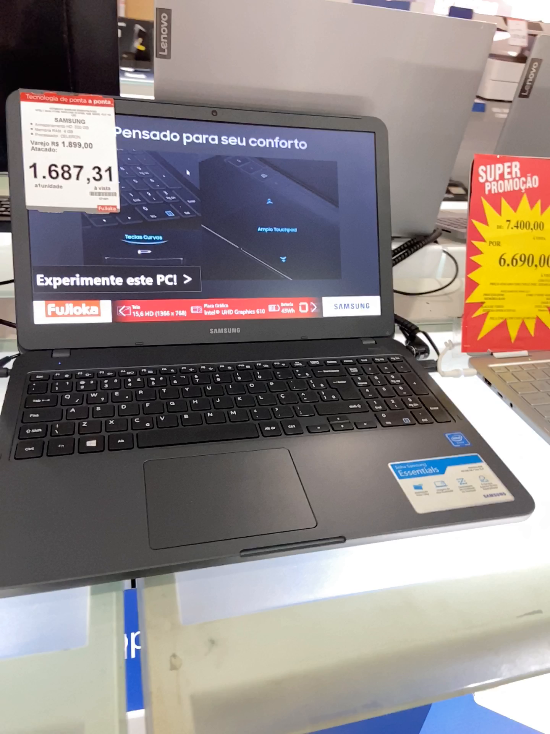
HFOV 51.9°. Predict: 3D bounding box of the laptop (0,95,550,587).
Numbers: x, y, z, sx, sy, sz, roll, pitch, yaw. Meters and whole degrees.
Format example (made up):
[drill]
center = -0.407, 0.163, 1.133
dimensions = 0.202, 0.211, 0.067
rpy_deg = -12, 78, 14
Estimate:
[laptop]
center = -0.026, -0.072, 0.457
dimensions = 0.366, 0.196, 0.372
rpy_deg = -3, 33, -15
